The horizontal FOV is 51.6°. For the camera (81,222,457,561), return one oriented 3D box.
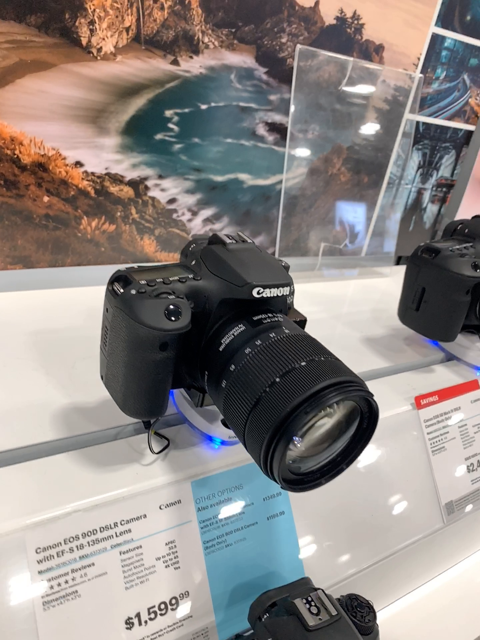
[{"bbox_3d":[0.001,0.018,0.310,0.148,0.104,0.171,-8,32,-32],"label":"camera"}]
